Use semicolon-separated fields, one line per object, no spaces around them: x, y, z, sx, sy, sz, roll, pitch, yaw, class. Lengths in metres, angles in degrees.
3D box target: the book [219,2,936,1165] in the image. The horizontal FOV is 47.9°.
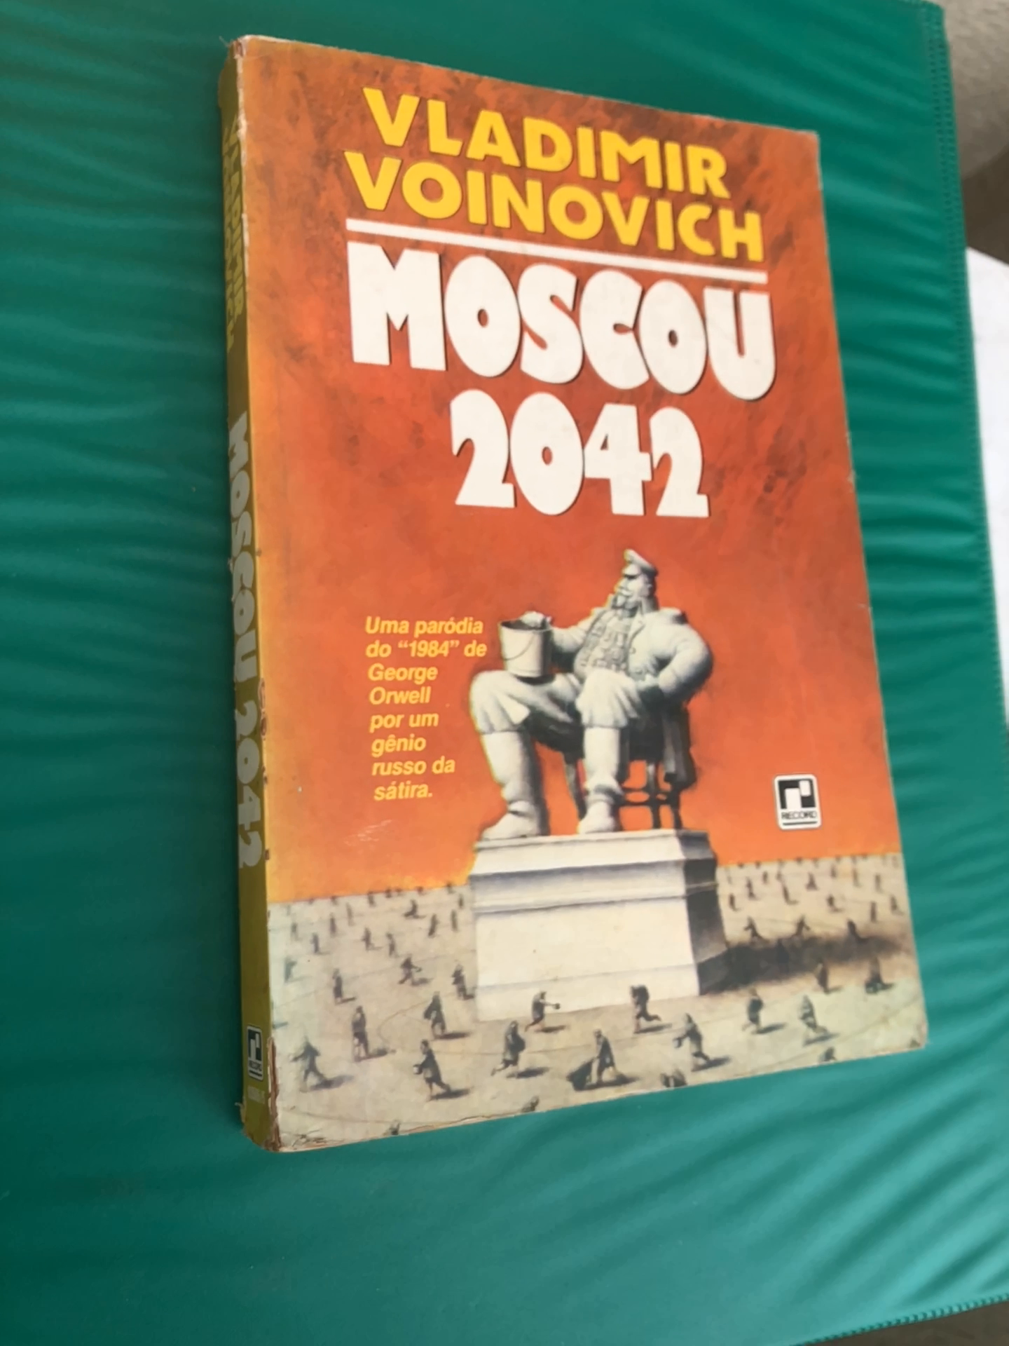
0.015;-0.022;0.228;0.132;0.020;0.203;-1;81;-22;book
